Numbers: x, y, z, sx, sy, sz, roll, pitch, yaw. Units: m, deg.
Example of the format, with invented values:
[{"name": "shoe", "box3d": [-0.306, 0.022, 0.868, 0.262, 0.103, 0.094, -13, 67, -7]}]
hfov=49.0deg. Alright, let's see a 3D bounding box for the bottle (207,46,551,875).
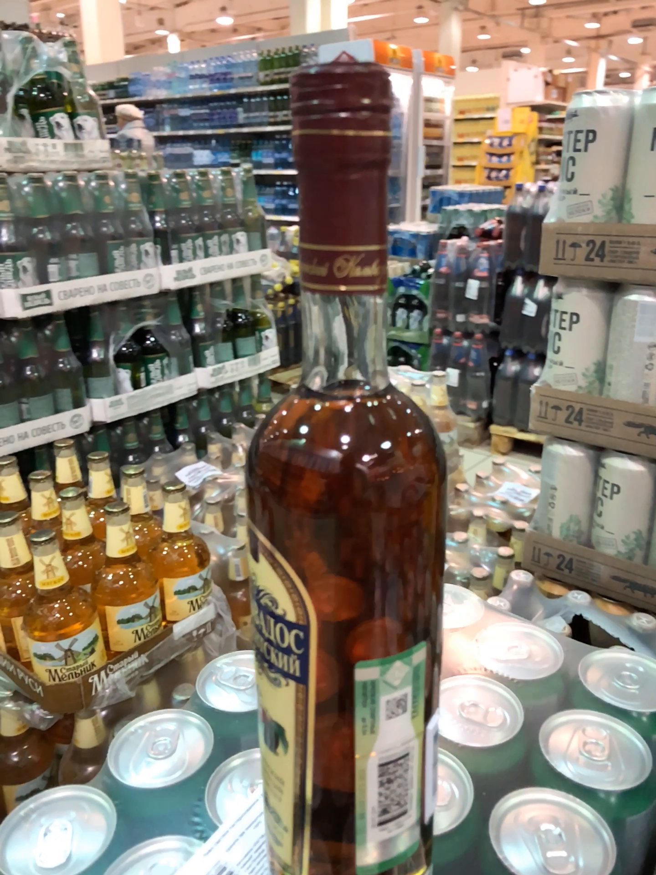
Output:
[{"name": "bottle", "box3d": [0.011, 0.040, 0.249, 0.070, 0.298, 0.070, 0, 20, 0]}]
